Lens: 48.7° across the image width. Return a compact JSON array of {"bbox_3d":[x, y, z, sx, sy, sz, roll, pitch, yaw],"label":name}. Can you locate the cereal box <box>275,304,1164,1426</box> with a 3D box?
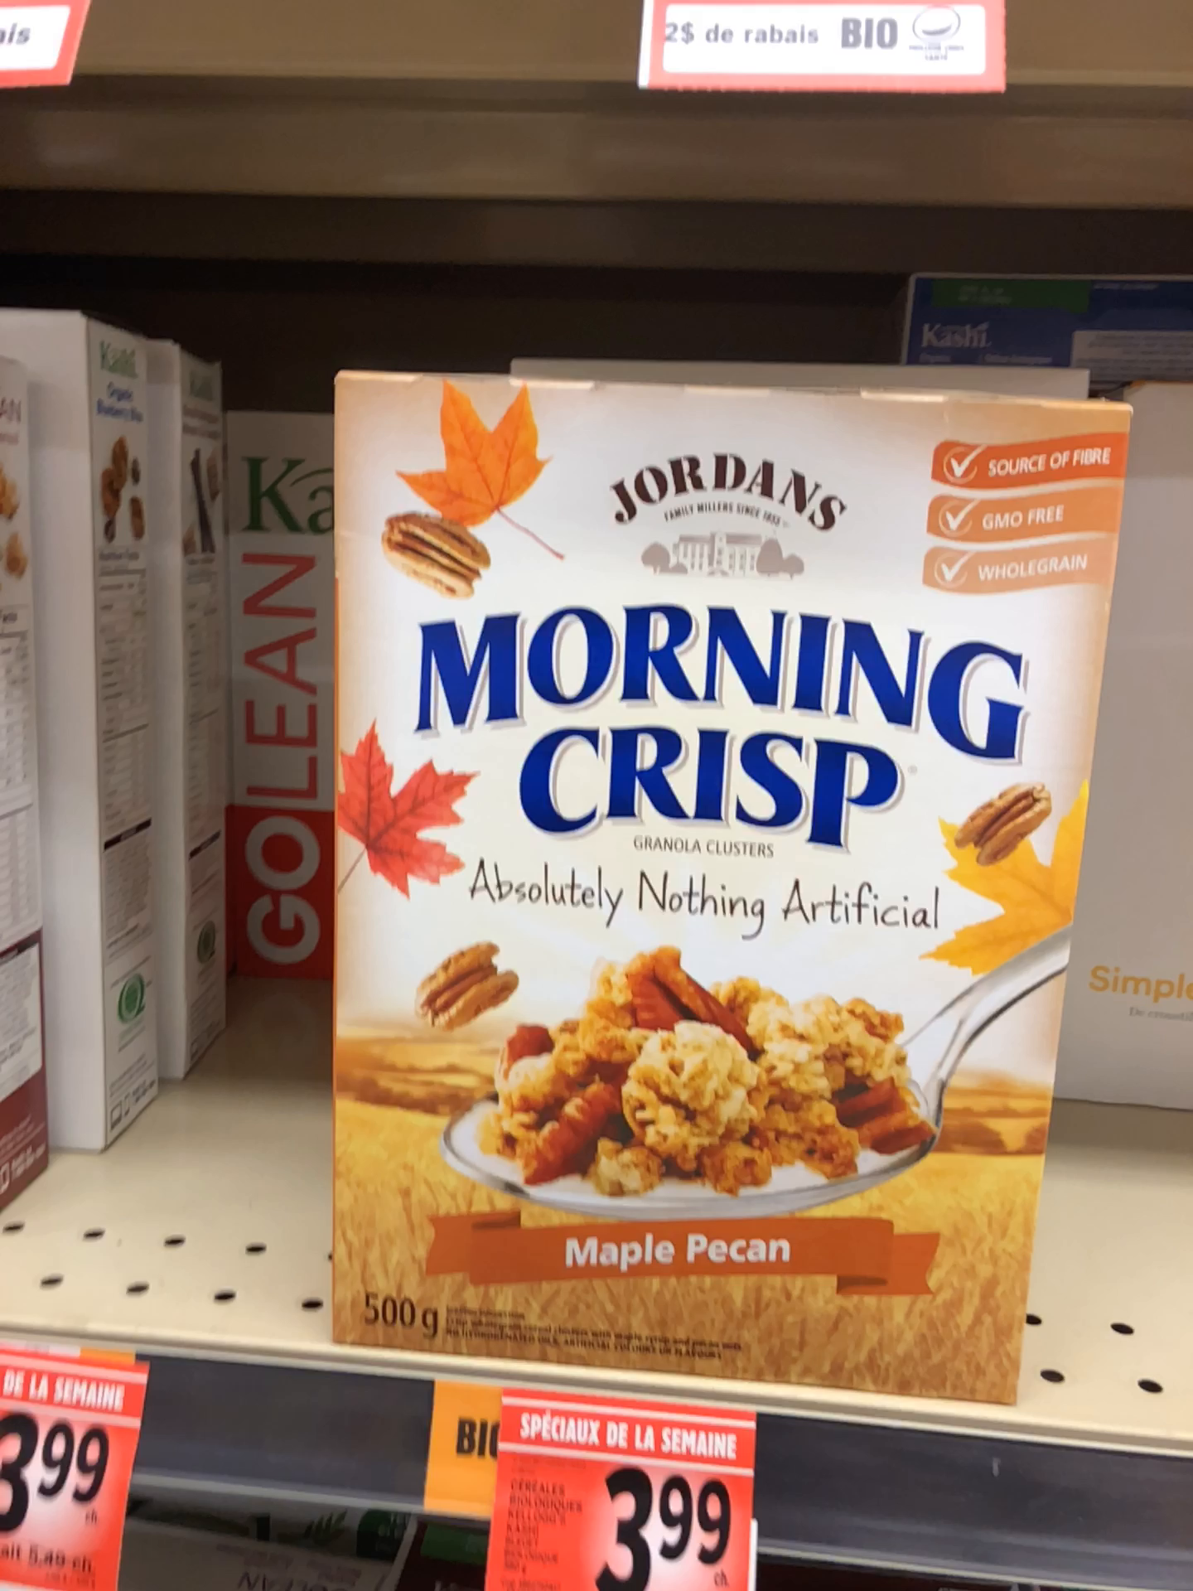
[{"bbox_3d":[0.020,0.020,0.335,0.190,0.259,0.050,4,12,3],"label":"cereal box"}]
